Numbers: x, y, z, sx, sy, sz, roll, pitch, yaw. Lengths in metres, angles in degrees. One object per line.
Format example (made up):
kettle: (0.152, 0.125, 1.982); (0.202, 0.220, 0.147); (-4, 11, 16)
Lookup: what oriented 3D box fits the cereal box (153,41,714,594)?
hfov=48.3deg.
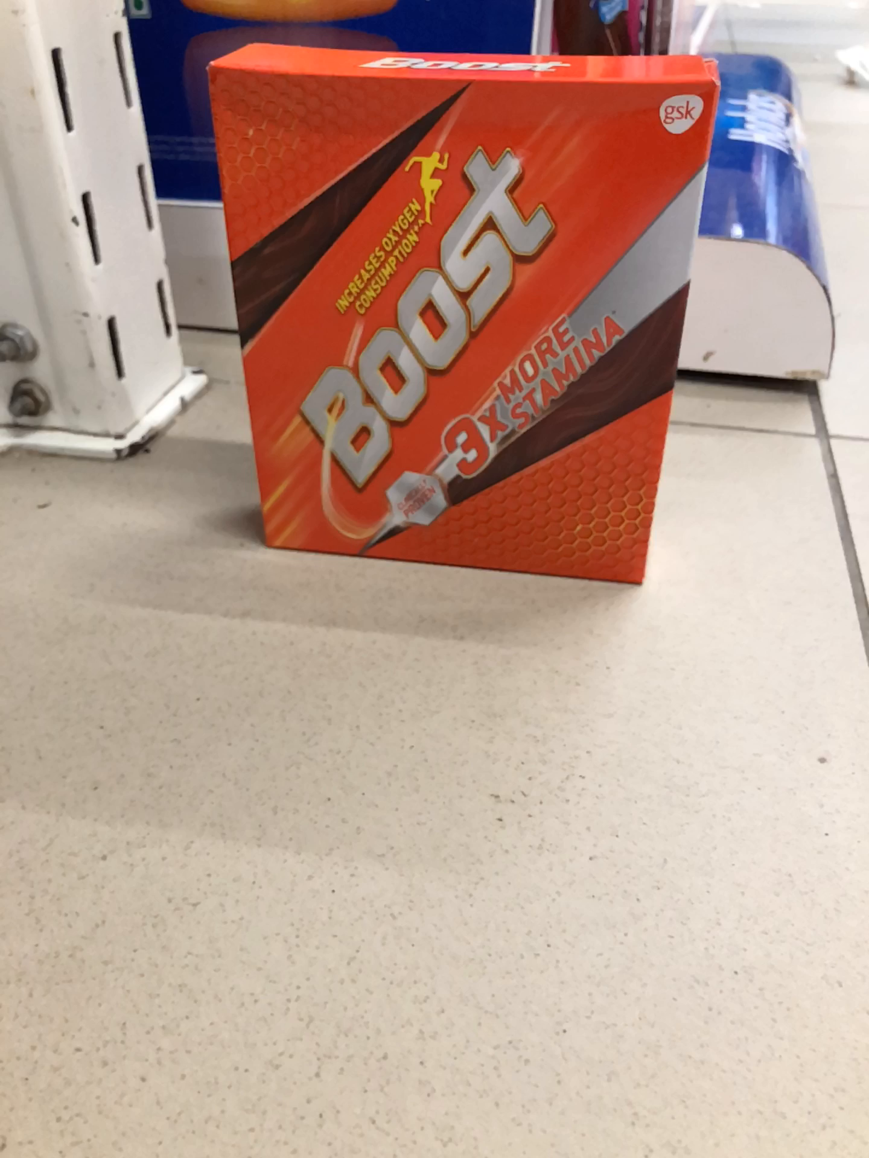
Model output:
cereal box: (0.000, -0.087, 0.347); (0.160, 0.179, 0.050); (3, 35, 4)
